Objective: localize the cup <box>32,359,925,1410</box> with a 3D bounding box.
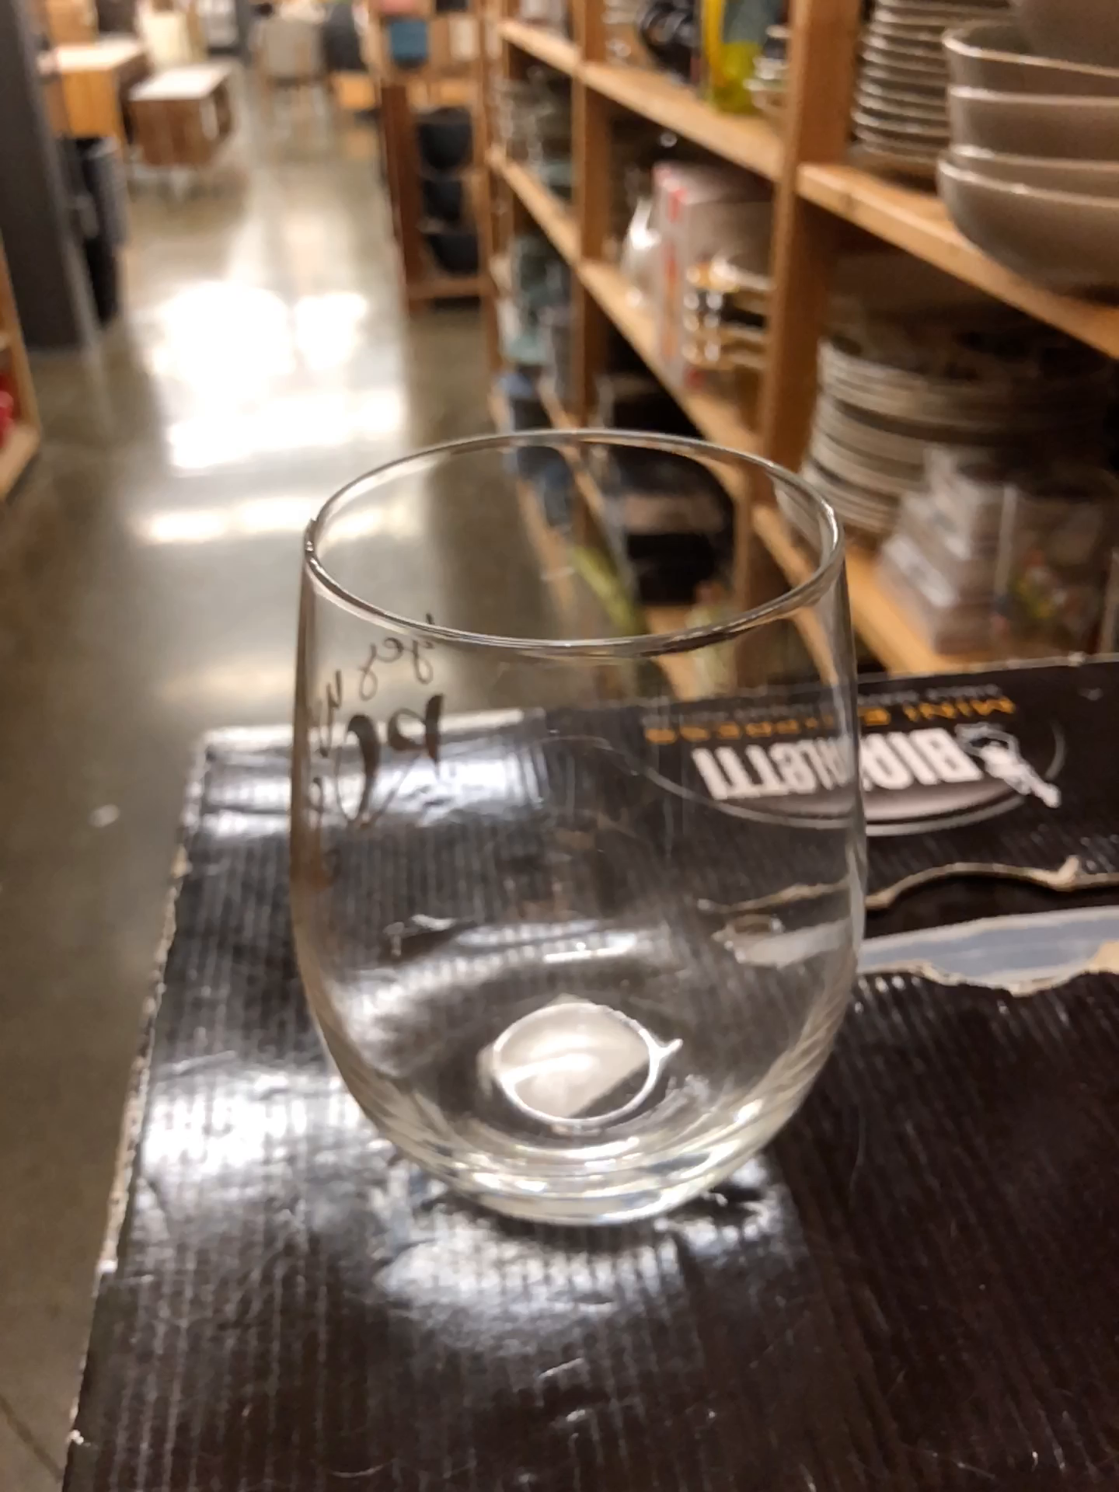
[{"bbox_3d":[0.000,0.013,0.198,0.090,0.114,0.096,-1,32,1],"label":"cup"}]
